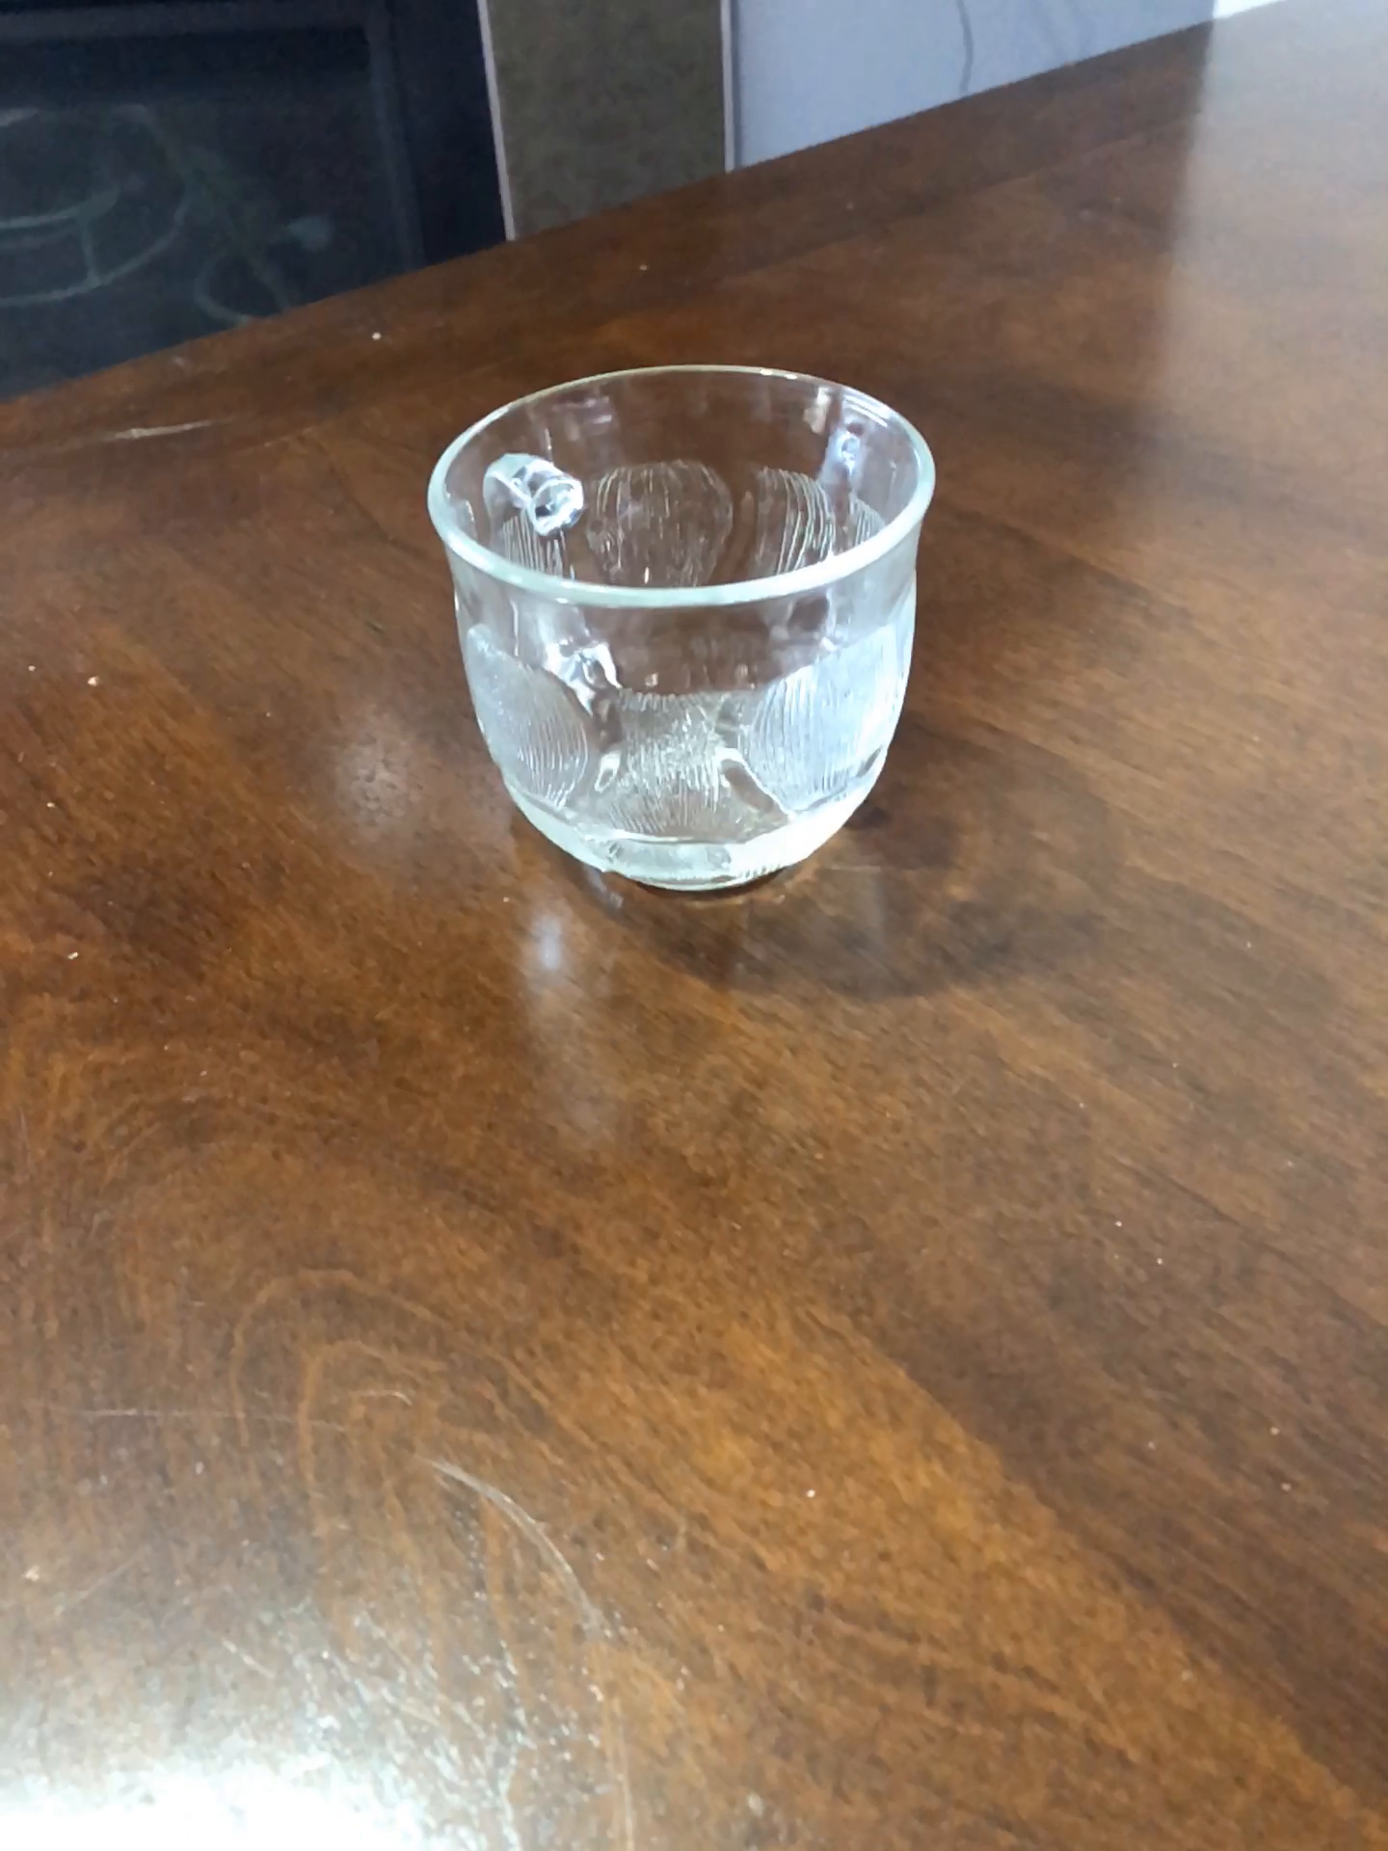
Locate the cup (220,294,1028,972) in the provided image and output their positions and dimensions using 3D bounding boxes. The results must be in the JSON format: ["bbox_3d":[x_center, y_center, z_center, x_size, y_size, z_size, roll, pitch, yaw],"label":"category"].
[{"bbox_3d":[-0.013,-0.055,0.254,0.080,0.050,0.100,-30,48,-26],"label":"cup"}]
